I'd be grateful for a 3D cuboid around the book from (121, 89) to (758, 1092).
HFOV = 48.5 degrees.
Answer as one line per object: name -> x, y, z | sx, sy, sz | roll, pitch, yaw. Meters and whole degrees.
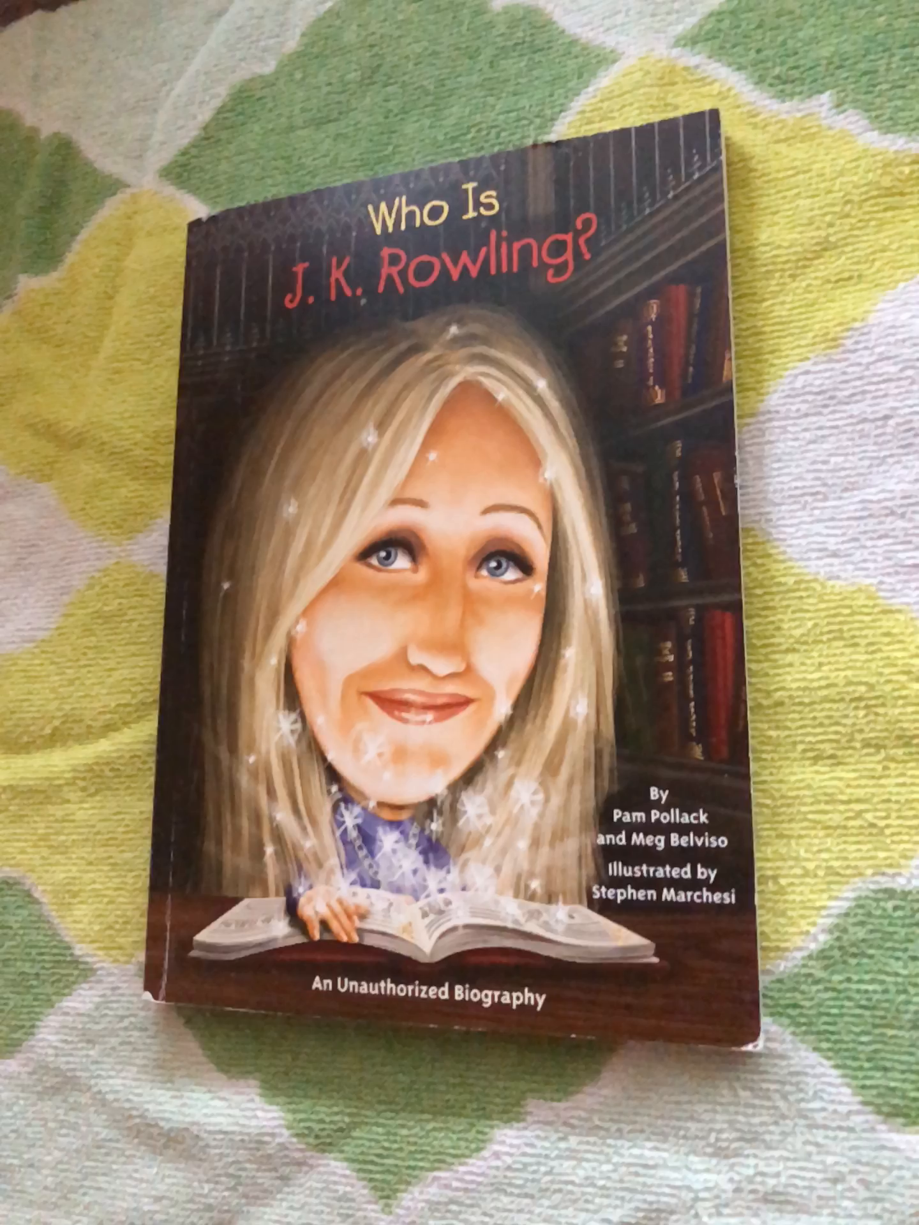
book -> -0.007, -0.008, 0.213 | 0.126, 0.012, 0.187 | -3, 79, 19
